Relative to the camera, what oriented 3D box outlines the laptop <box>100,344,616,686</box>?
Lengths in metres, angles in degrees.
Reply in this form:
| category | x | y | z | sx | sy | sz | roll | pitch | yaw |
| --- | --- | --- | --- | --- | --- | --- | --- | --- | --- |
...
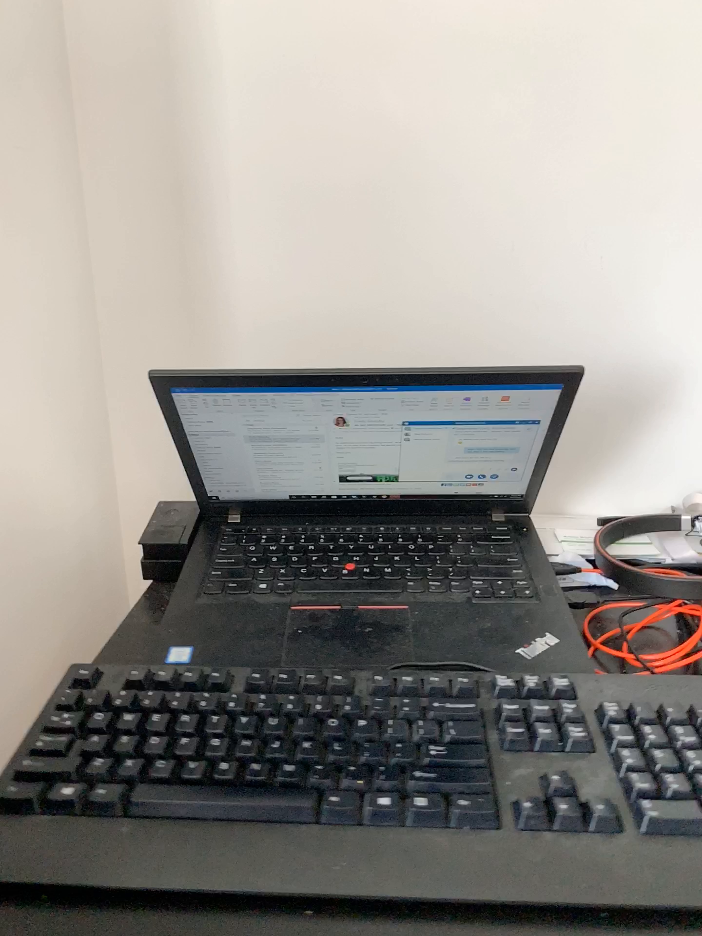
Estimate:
| category | x | y | z | sx | sy | sz | roll | pitch | yaw |
| --- | --- | --- | --- | --- | --- | --- | --- | --- | --- |
| laptop | 0.008 | 0.020 | 0.598 | 0.334 | 0.172 | 0.237 | -1 | 23 | 0 |
